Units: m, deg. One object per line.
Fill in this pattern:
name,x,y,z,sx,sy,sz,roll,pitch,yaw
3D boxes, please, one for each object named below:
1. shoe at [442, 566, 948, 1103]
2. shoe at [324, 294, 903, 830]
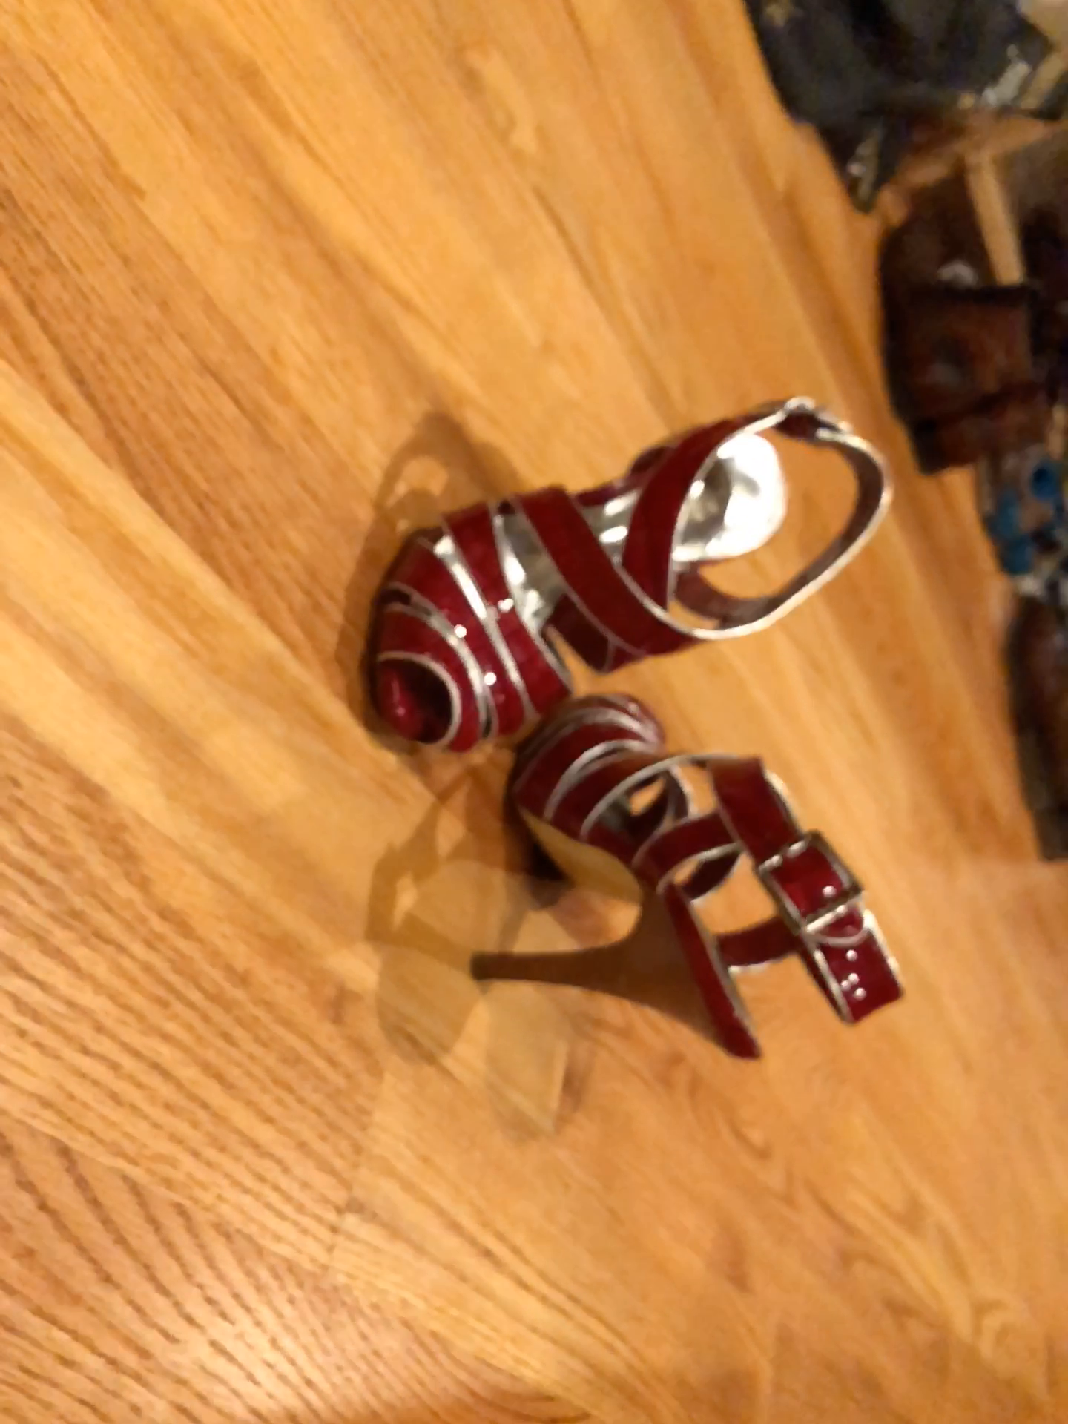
shoe,0.077,0.047,0.481,0.091,0.141,0.194,61,35,-28
shoe,0.045,-0.062,0.464,0.091,0.151,0.199,63,34,-25
